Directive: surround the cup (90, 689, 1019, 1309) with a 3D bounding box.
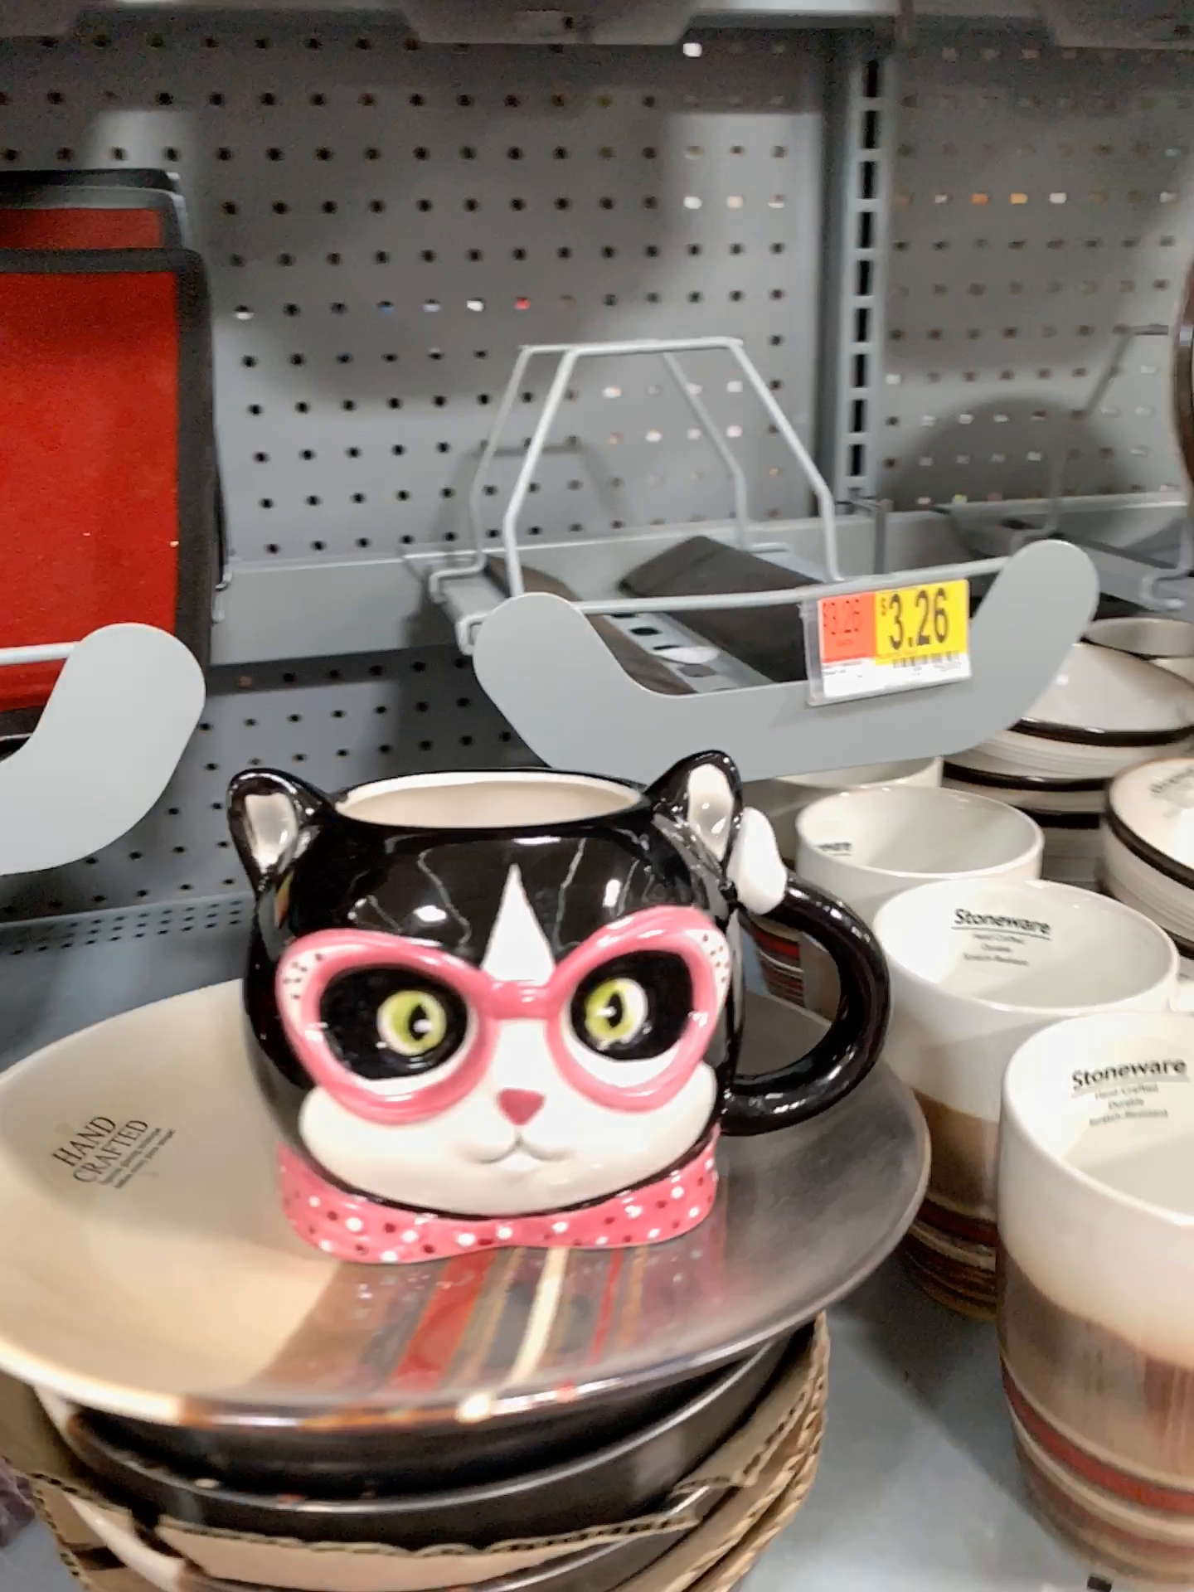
[{"bbox_3d":[-0.008,0.031,0.249,0.144,0.074,0.096,-4,20,-5],"label":"cup"}]
